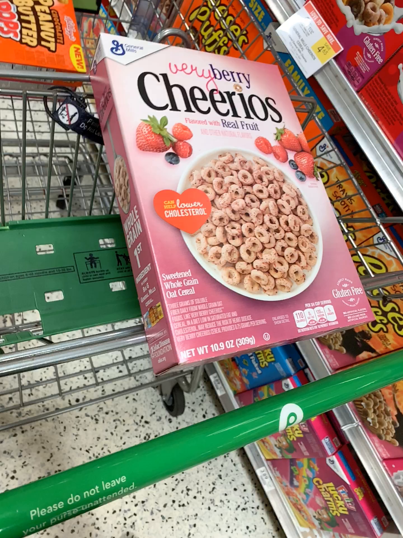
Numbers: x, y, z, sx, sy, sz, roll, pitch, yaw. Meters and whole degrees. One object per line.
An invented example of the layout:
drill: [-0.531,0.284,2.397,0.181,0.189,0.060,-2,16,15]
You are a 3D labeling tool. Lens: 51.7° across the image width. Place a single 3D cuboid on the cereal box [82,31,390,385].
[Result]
cereal box: [0.027,-0.064,0.378,0.211,0.060,0.281,-6,72,-29]
